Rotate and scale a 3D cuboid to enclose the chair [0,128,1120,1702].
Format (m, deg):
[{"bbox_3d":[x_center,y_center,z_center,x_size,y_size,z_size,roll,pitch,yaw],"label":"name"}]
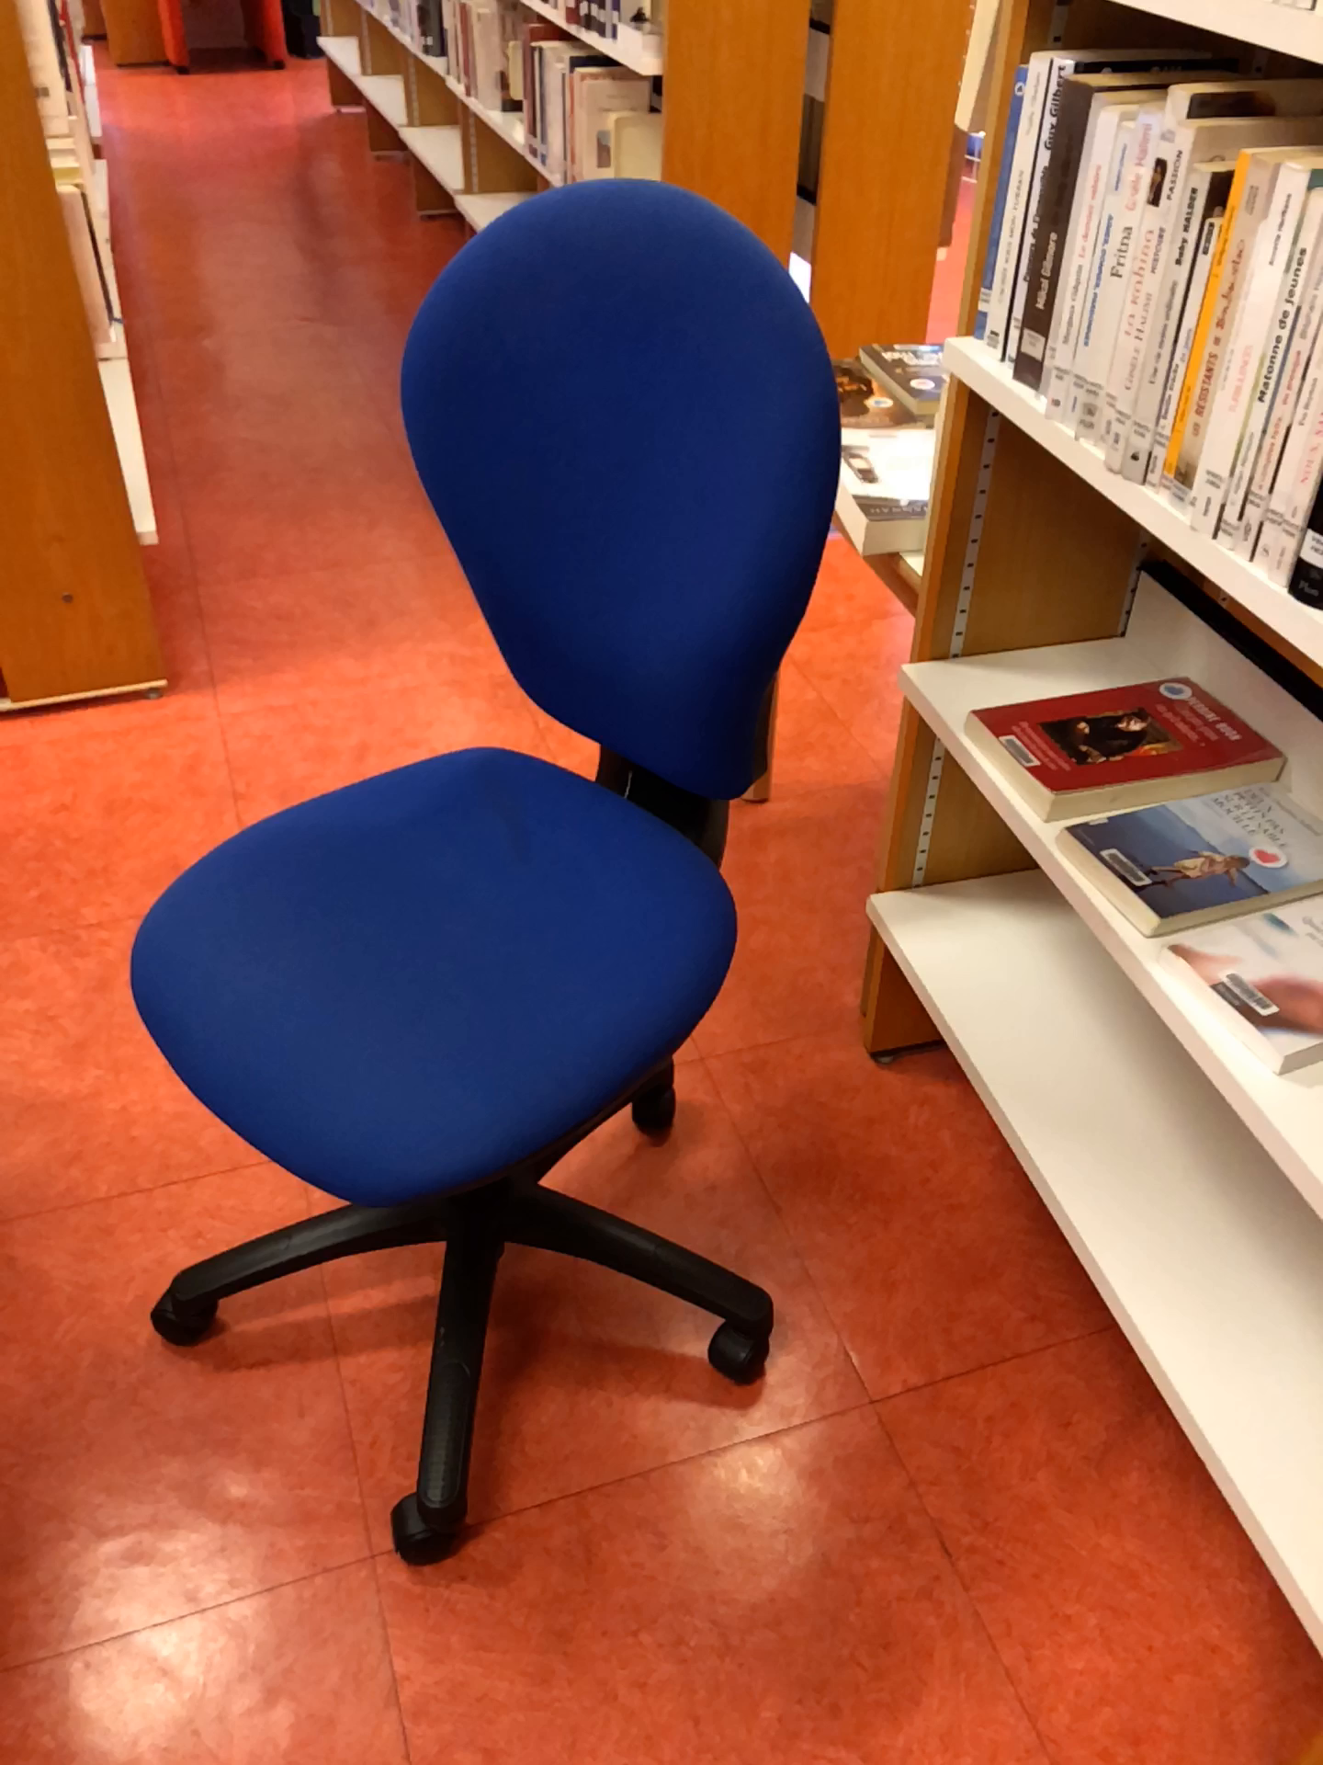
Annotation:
[{"bbox_3d":[-0.181,-0.017,1.182,0.623,0.914,0.661,-27,46,-32],"label":"chair"}]
